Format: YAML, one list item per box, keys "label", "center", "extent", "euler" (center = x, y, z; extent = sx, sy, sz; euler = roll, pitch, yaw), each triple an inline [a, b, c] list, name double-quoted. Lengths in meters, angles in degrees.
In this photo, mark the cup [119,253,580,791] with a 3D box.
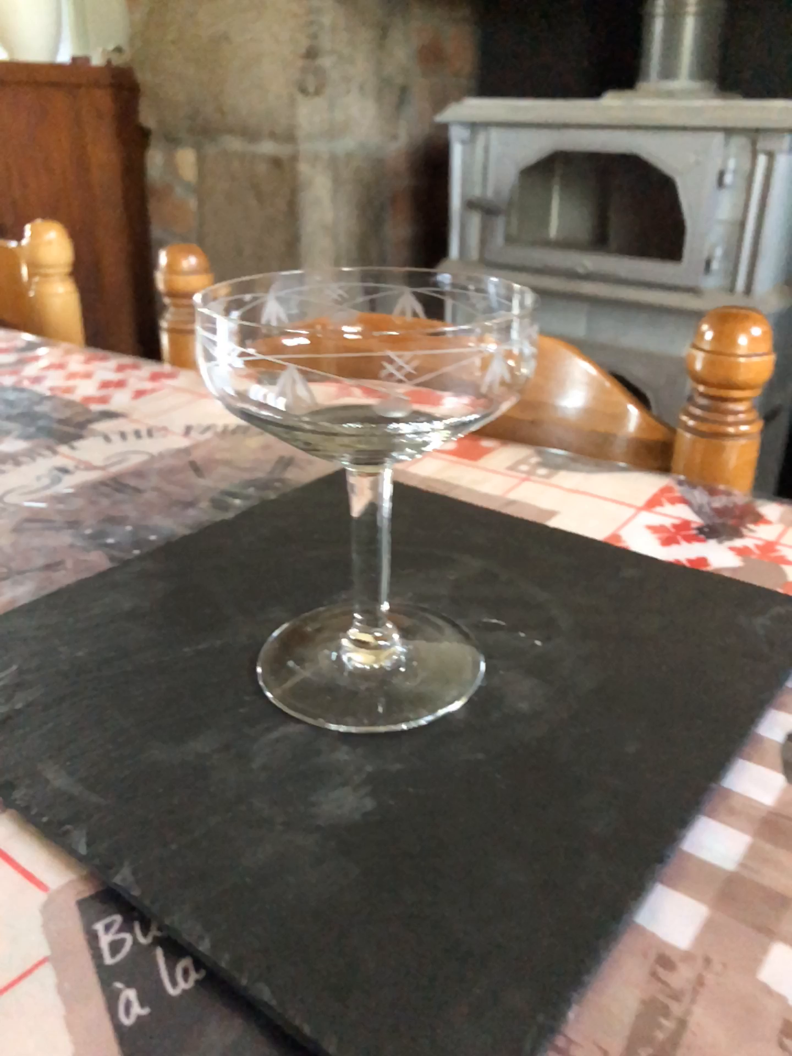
- label: "cup"
  center: [-0.009, -0.012, 0.262]
  extent: [0.090, 0.119, 0.091]
  euler: [0, 24, 0]
